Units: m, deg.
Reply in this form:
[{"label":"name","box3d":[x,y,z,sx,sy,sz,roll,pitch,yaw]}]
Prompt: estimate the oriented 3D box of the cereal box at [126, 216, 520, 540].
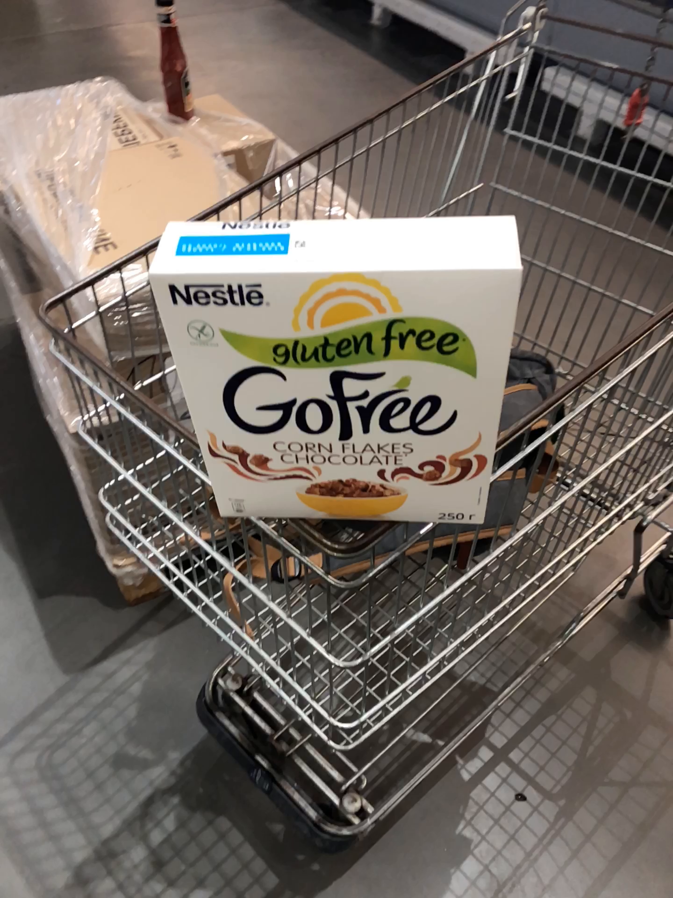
[{"label":"cereal box","box3d":[-0.001,-0.032,0.473,0.200,0.228,0.050,1,48,5]}]
